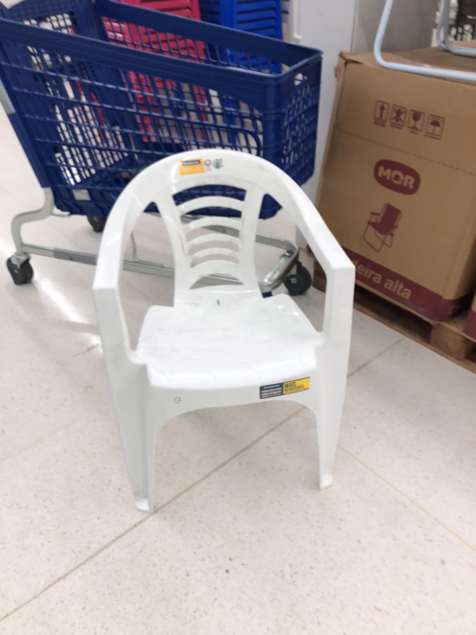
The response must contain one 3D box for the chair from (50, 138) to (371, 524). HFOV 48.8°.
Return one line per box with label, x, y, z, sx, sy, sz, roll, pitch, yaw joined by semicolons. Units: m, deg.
chair;-0.071;0.017;1.245;0.520;0.695;0.503;-6;35;-8
